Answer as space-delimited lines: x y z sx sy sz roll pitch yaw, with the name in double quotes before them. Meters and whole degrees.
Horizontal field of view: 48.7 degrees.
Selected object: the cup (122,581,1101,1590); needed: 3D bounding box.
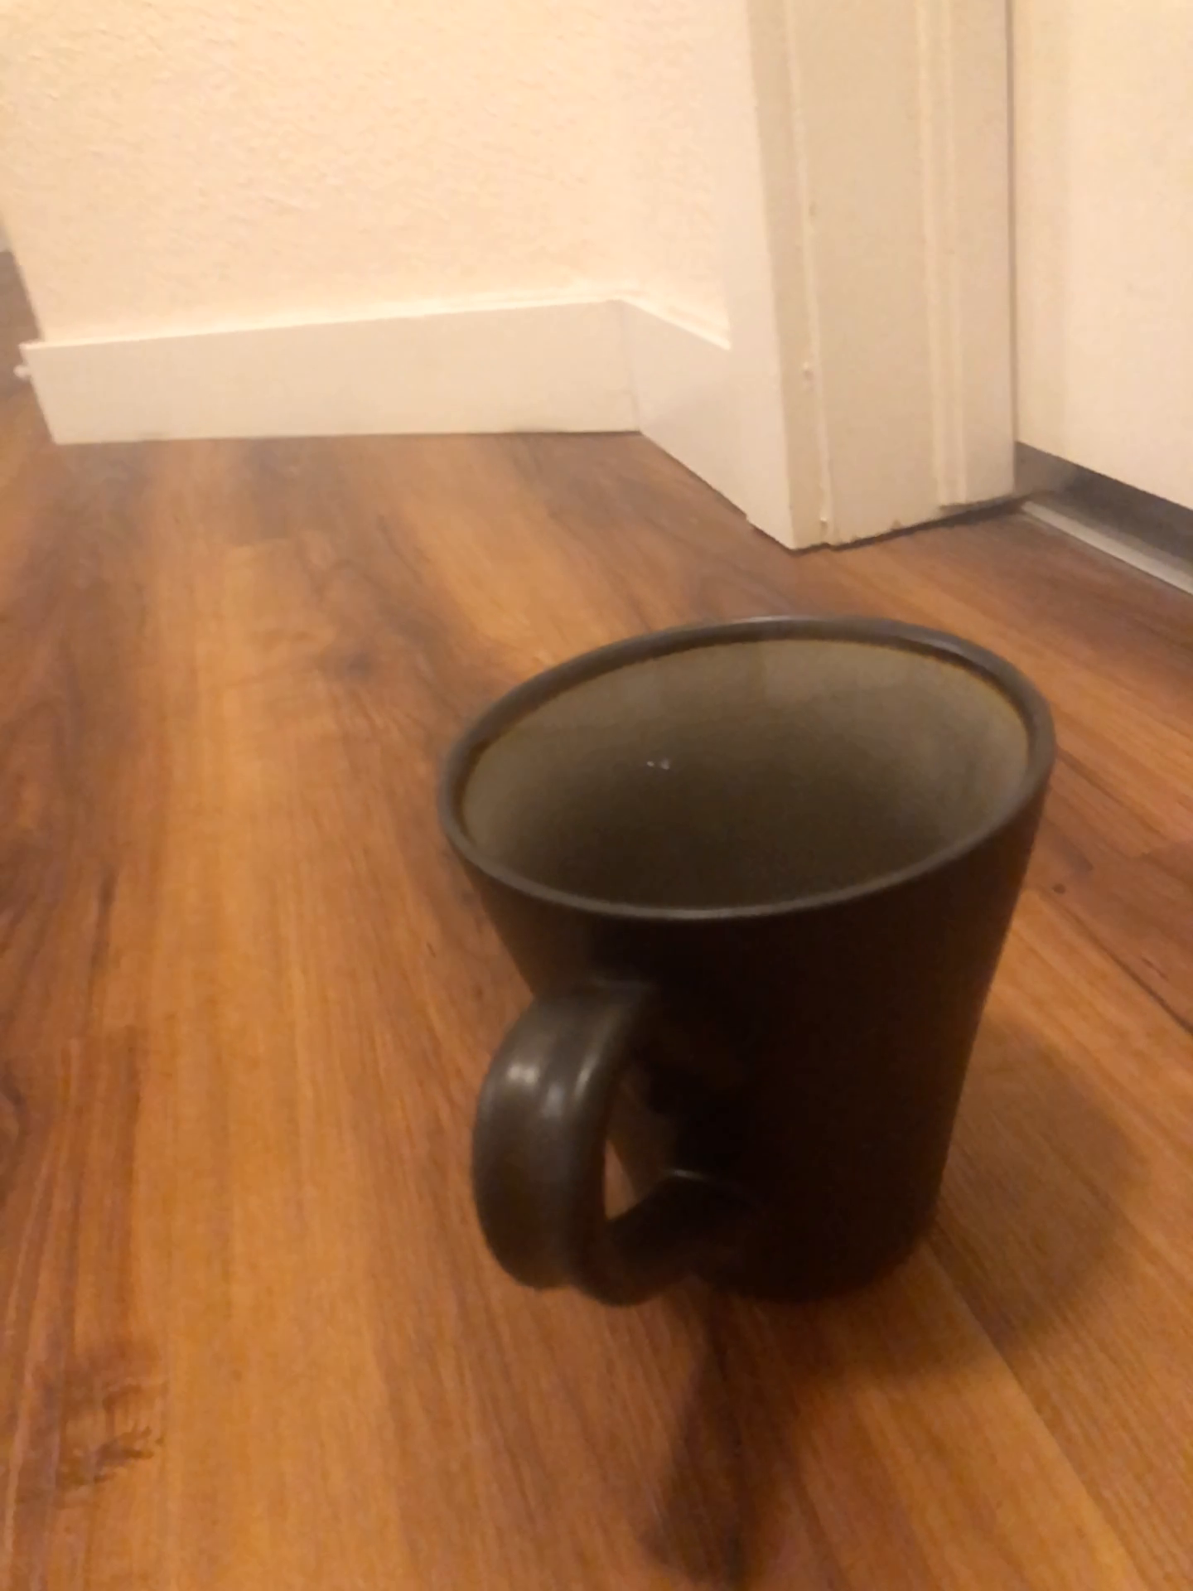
"cup" 0.024 0.036 0.244 0.114 0.100 0.155 4 31 25
